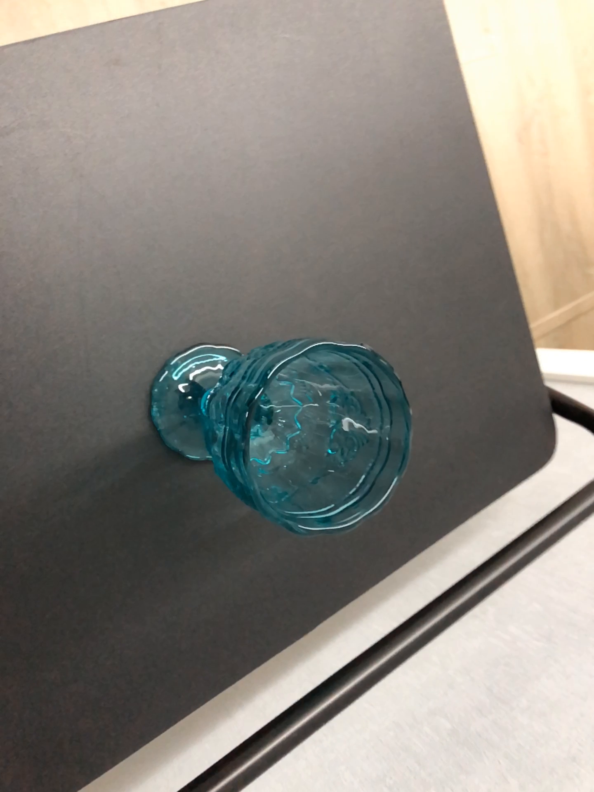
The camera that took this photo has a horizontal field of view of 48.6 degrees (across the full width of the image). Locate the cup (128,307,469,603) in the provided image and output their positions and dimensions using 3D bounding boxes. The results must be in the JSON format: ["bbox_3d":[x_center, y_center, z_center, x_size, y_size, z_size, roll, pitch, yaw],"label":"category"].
[{"bbox_3d":[-0.010,0.015,0.342,0.085,0.164,0.095,-26,107,-23],"label":"cup"}]
